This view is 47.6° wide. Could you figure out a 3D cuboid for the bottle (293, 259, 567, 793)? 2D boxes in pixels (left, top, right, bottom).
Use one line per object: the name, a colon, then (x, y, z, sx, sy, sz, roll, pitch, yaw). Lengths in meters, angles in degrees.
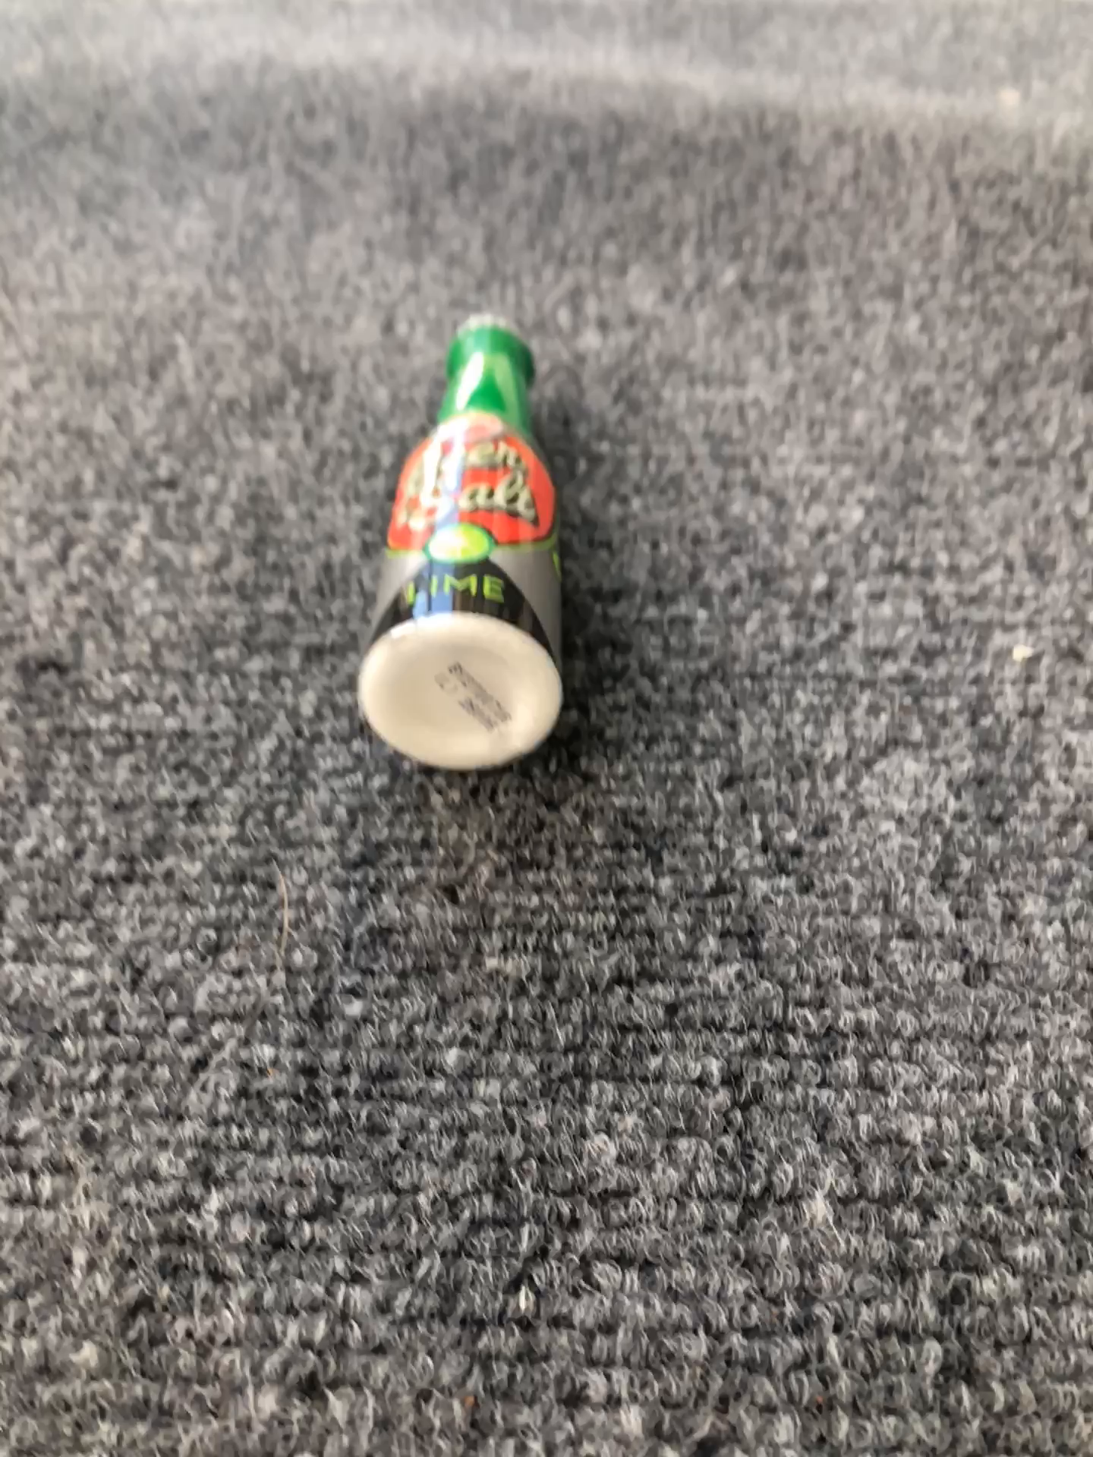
bottle: (-0.014, -0.037, 0.195, 0.033, 0.030, 0.102, 0, 44, 0)
